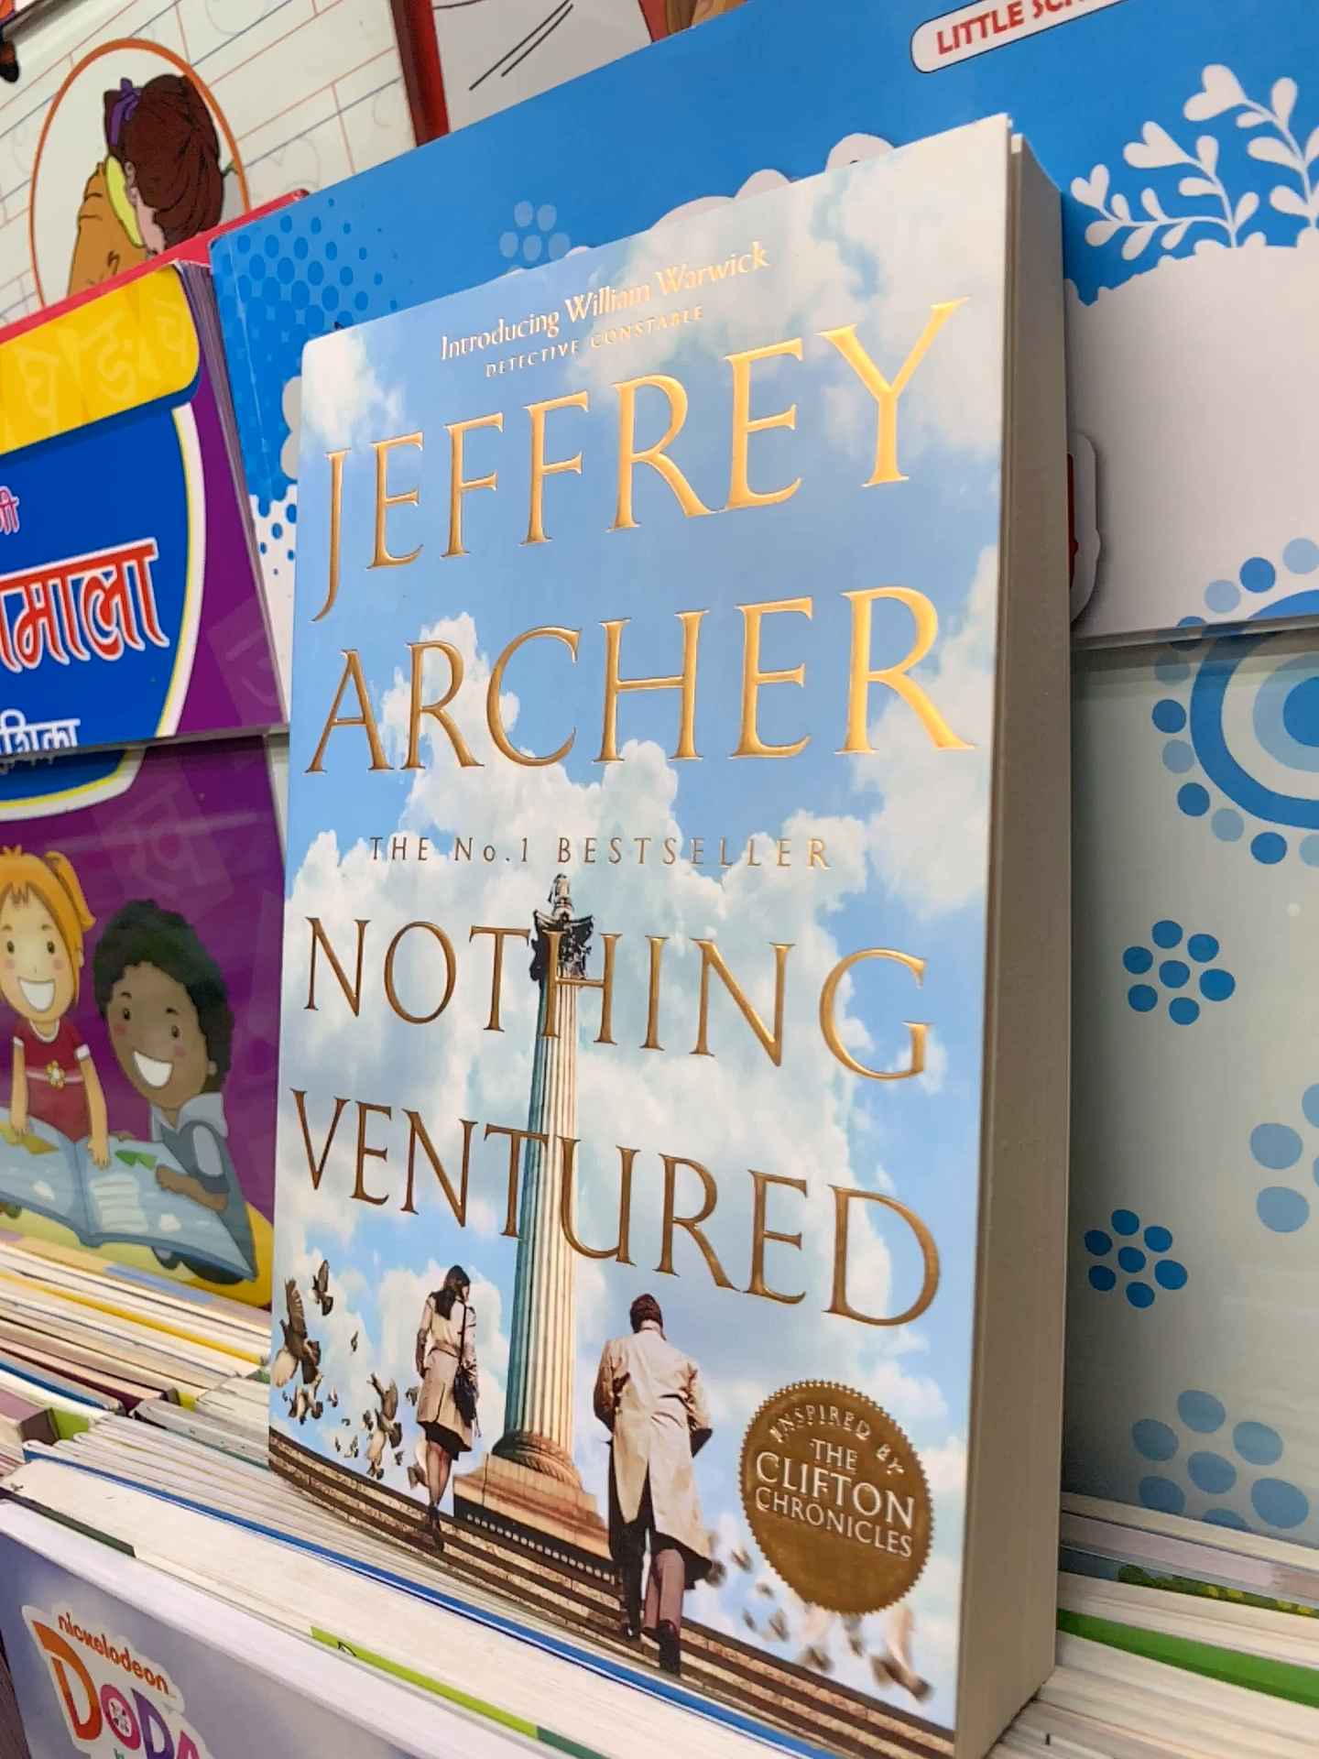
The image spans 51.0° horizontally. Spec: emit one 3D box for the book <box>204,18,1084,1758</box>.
[{"bbox_3d":[-0.010,0.003,0.196,0.130,0.190,0.030,0,-3,39],"label":"book"}]
